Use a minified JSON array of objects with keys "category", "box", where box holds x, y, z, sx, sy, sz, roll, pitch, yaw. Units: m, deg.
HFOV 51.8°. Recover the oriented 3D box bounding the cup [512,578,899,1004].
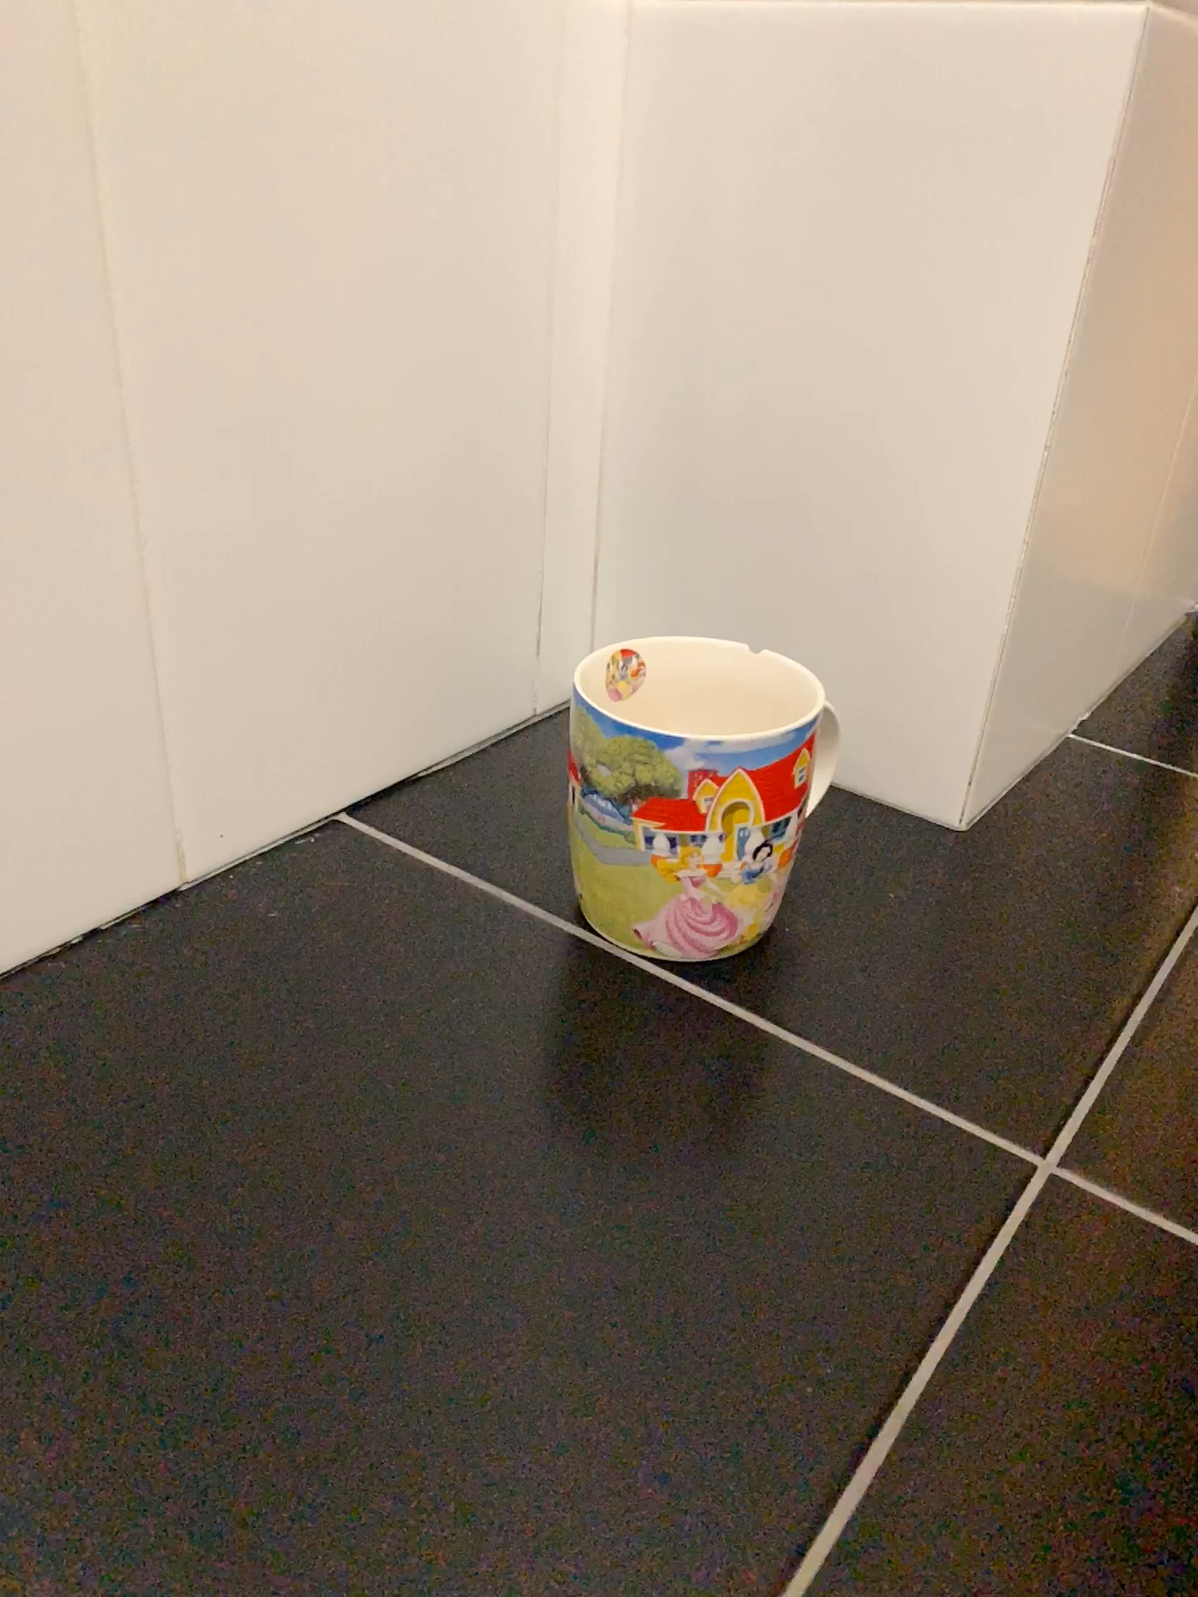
[{"category":"cup","box":[0.040,-0.010,0.461,0.085,0.099,0.125,20,33,27]}]
